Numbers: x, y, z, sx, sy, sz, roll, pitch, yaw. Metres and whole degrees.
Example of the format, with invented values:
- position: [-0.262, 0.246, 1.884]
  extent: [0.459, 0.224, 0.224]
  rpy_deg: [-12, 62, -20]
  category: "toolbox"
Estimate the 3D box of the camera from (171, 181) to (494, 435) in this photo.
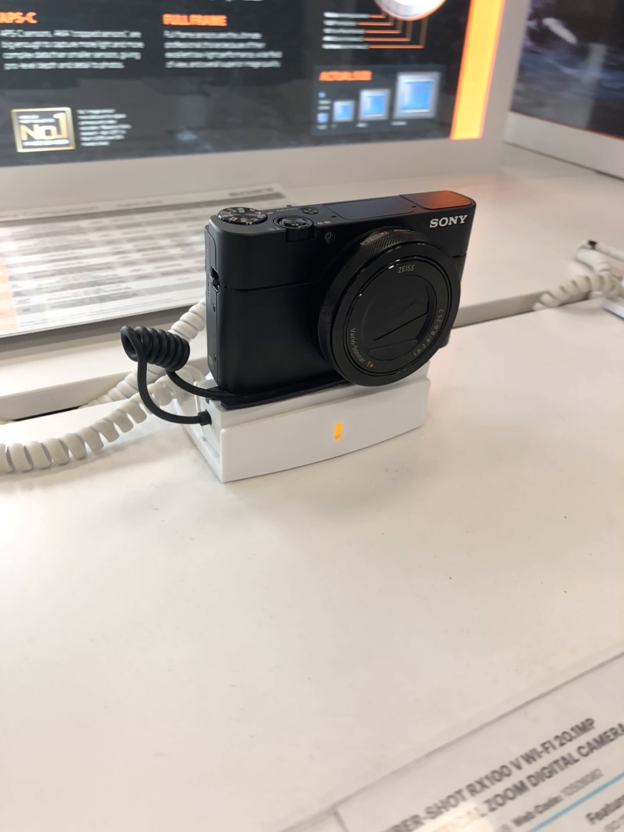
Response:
- position: [0.007, -0.042, 0.257]
  extent: [0.110, 0.070, 0.030]
  rpy_deg: [-15, 42, -27]
  category: "camera"
